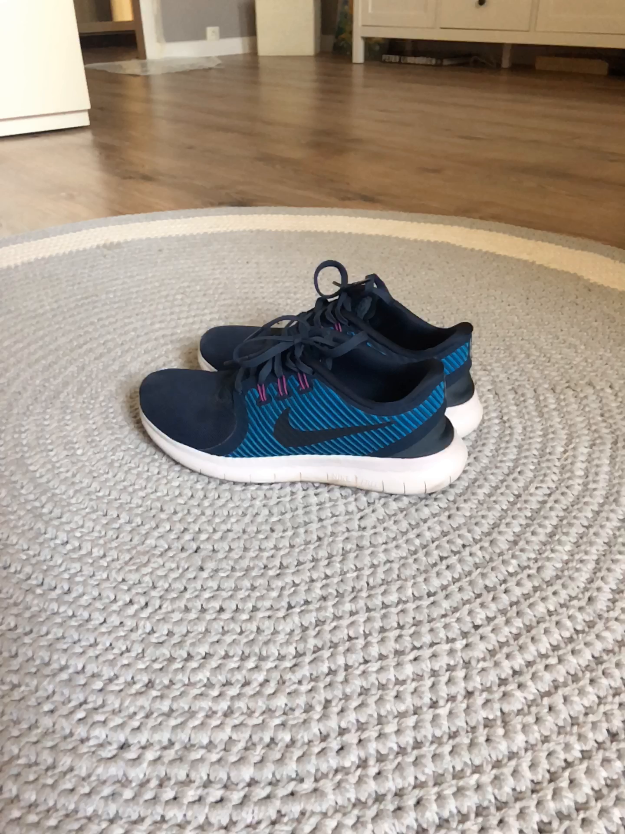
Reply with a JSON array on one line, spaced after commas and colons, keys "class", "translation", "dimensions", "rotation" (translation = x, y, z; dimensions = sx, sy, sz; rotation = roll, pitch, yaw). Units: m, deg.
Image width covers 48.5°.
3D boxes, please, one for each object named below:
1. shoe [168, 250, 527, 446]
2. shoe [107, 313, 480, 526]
[{"class": "shoe", "translation": [0.025, -0.067, 0.576], "dimensions": [0.270, 0.080, 0.100], "rotation": [14, 34, 23]}, {"class": "shoe", "translation": [-0.011, -0.006, 0.509], "dimensions": [0.244, 0.080, 0.100], "rotation": [9, 33, 16]}]
